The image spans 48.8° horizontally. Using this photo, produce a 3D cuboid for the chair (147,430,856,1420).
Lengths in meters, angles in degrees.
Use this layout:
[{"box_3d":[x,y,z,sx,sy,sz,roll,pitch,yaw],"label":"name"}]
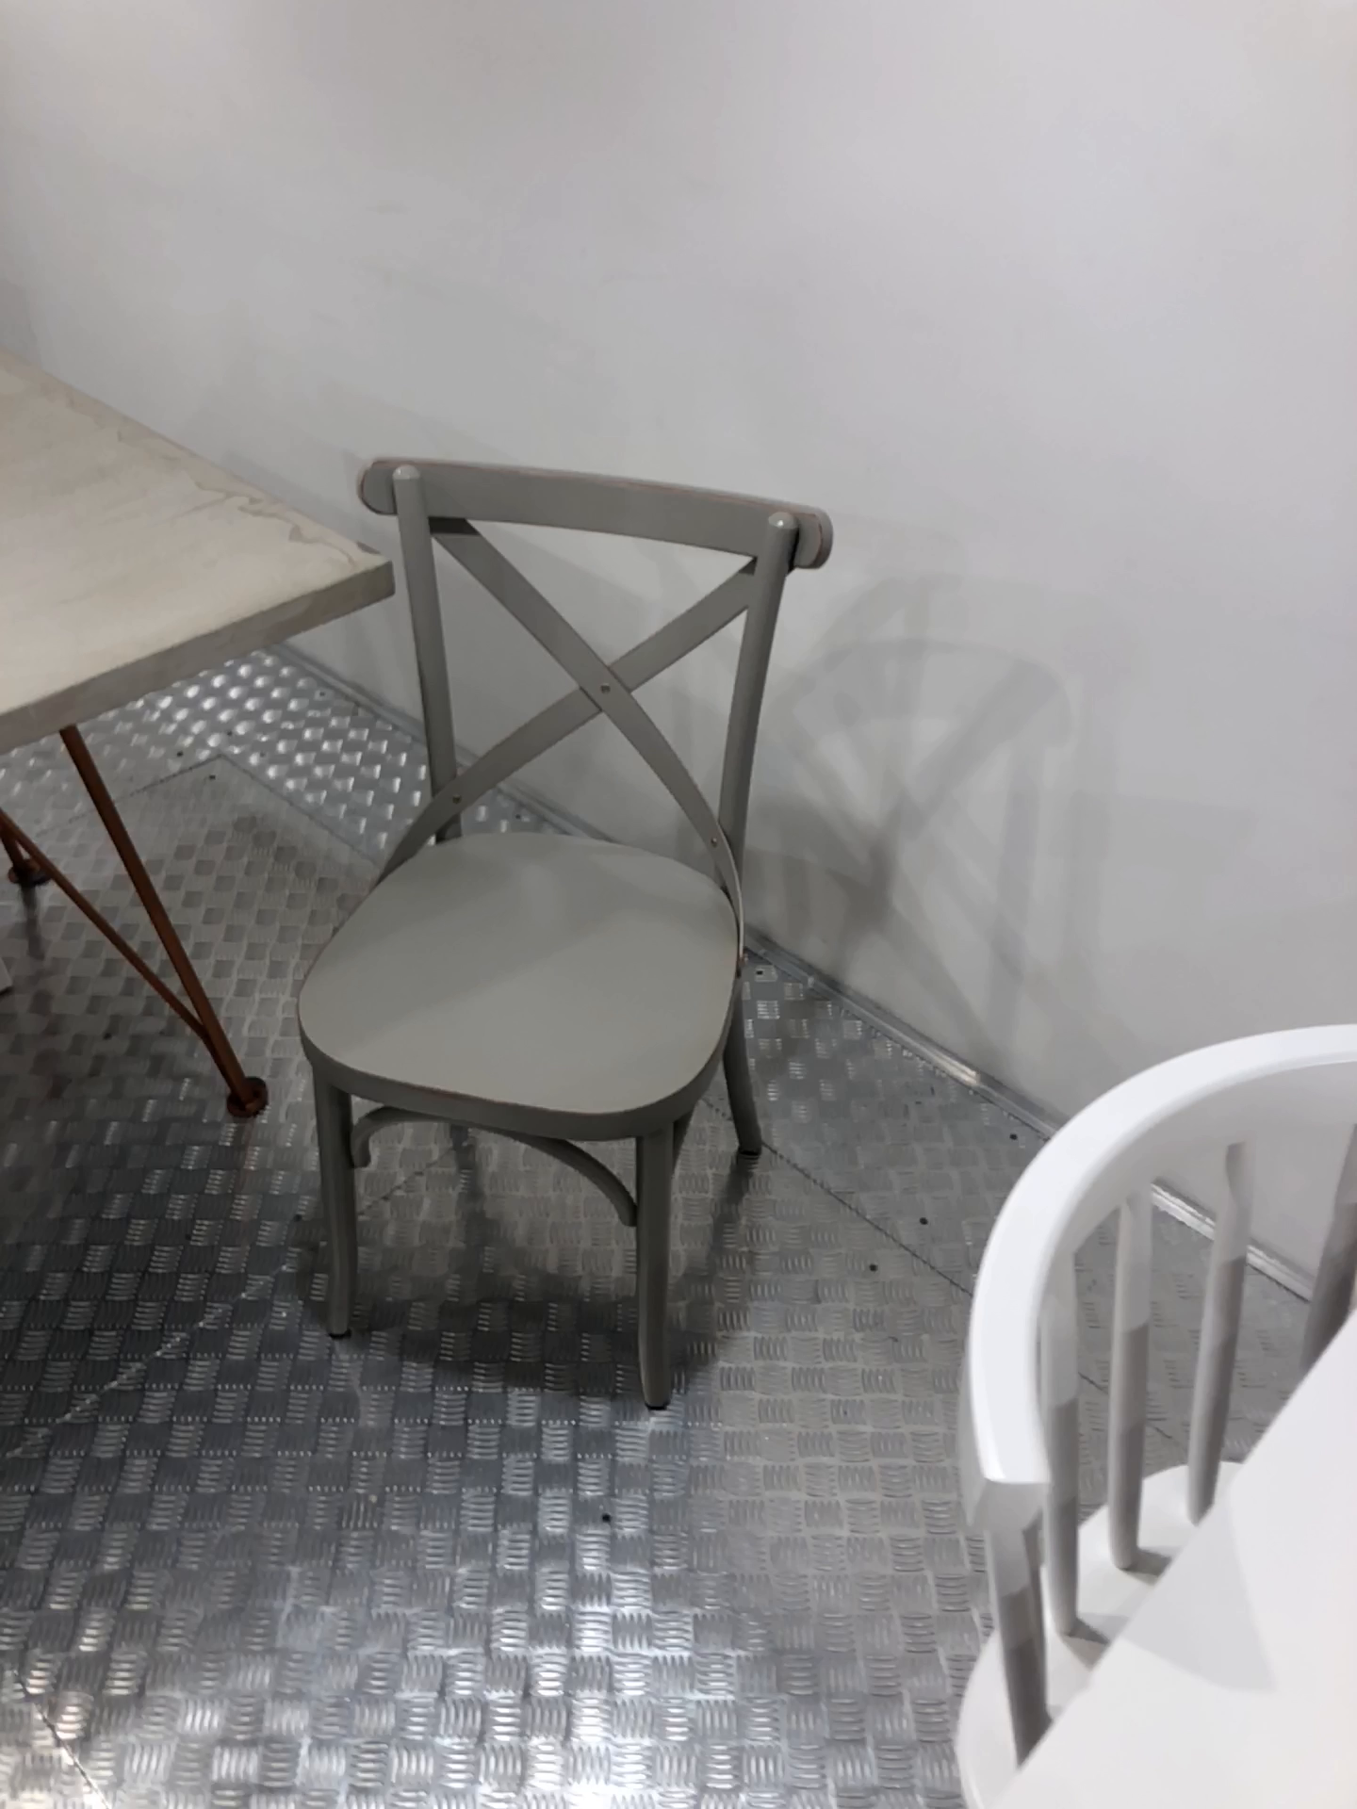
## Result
[{"box_3d":[-0.136,0.036,1.636,0.510,0.893,0.504,9,39,9],"label":"chair"}]
